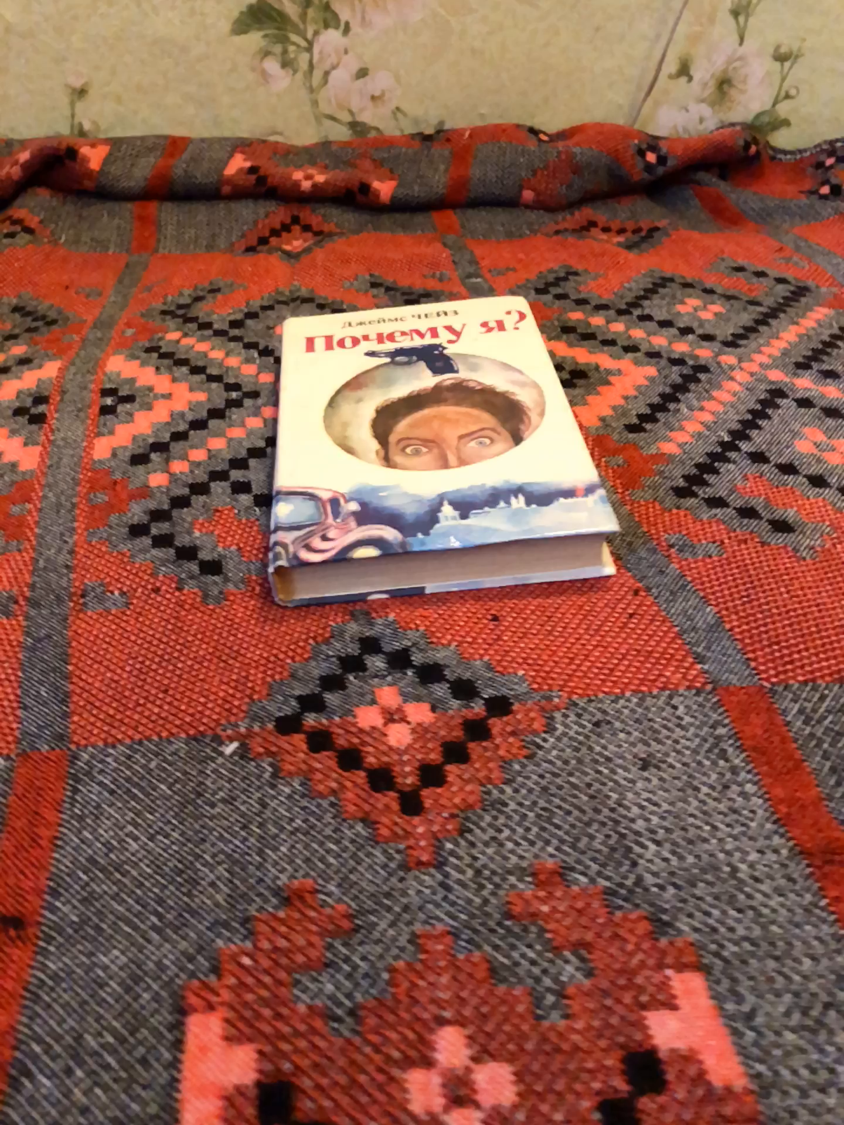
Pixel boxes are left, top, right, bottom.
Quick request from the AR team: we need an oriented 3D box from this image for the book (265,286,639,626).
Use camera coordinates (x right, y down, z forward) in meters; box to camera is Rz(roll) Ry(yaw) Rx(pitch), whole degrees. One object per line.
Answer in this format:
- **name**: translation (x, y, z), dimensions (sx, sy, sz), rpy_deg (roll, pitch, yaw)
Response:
- **book**: translation (0.002, -0.060, 0.418), dimensions (0.133, 0.029, 0.205), rpy_deg (-6, 41, -2)
